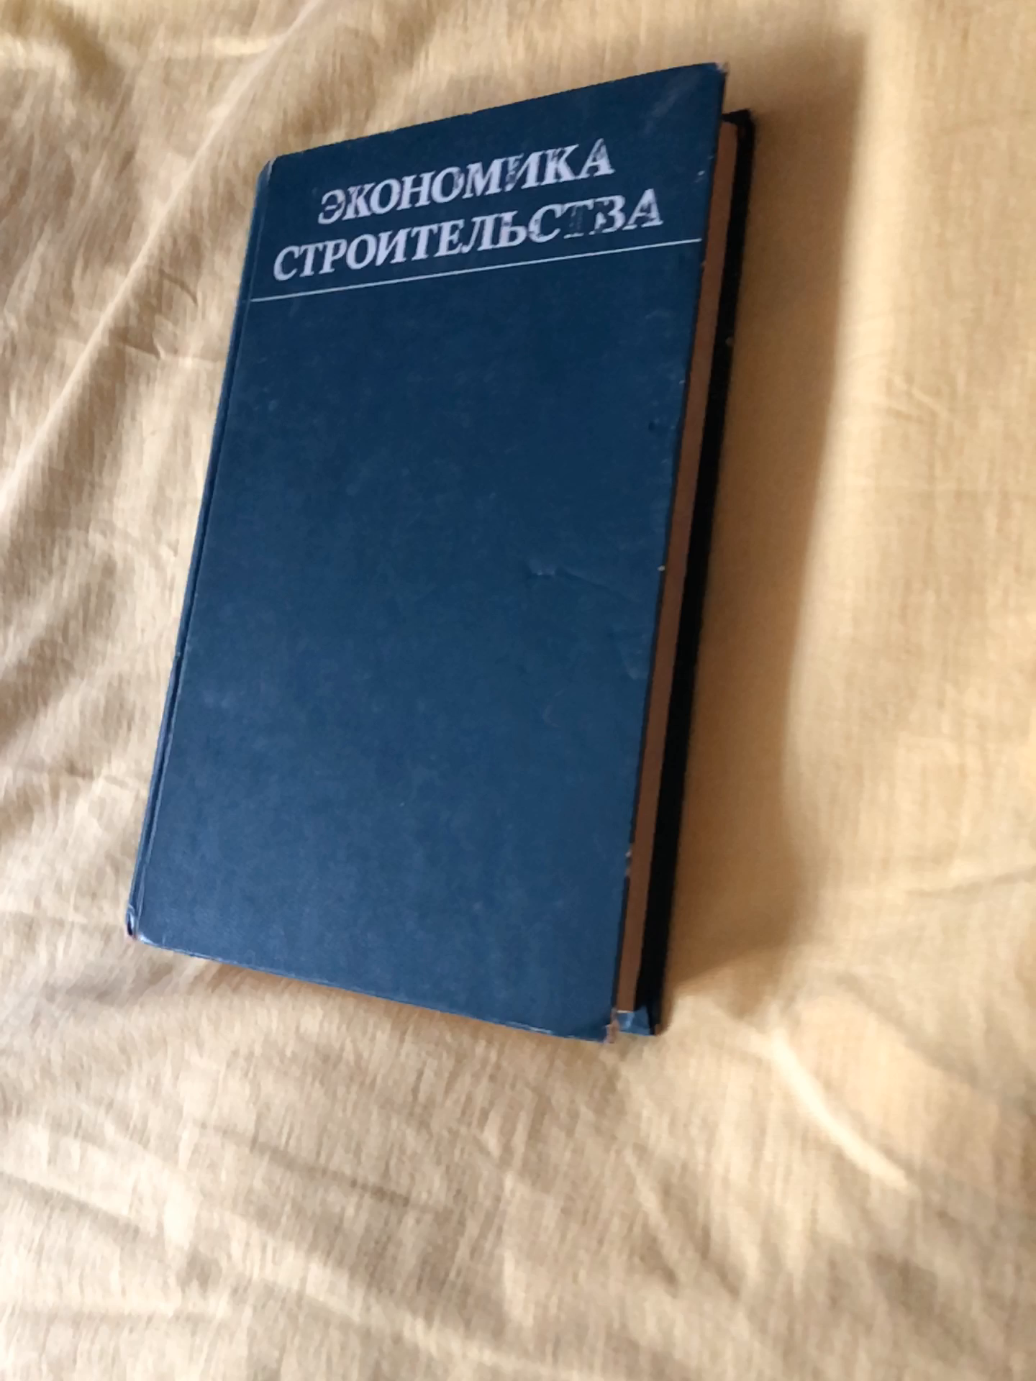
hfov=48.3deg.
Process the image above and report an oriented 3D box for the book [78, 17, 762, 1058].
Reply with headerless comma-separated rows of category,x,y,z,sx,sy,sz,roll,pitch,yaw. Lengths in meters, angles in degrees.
book,-0.023,-0.035,0.258,0.130,0.030,0.200,3,81,29
